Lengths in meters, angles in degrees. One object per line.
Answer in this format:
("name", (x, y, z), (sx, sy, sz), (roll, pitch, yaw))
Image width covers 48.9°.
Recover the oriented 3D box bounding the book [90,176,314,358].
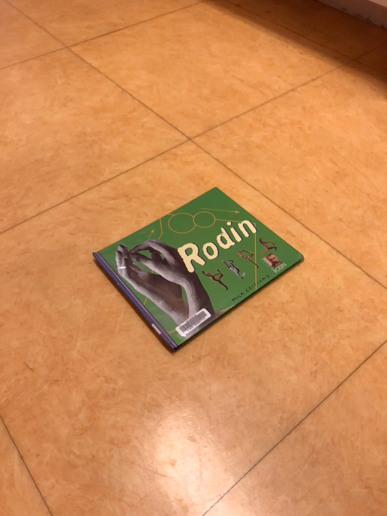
("book", (0.012, -0.006, 0.607), (0.244, 0.030, 0.200), (-31, 57, -24))
